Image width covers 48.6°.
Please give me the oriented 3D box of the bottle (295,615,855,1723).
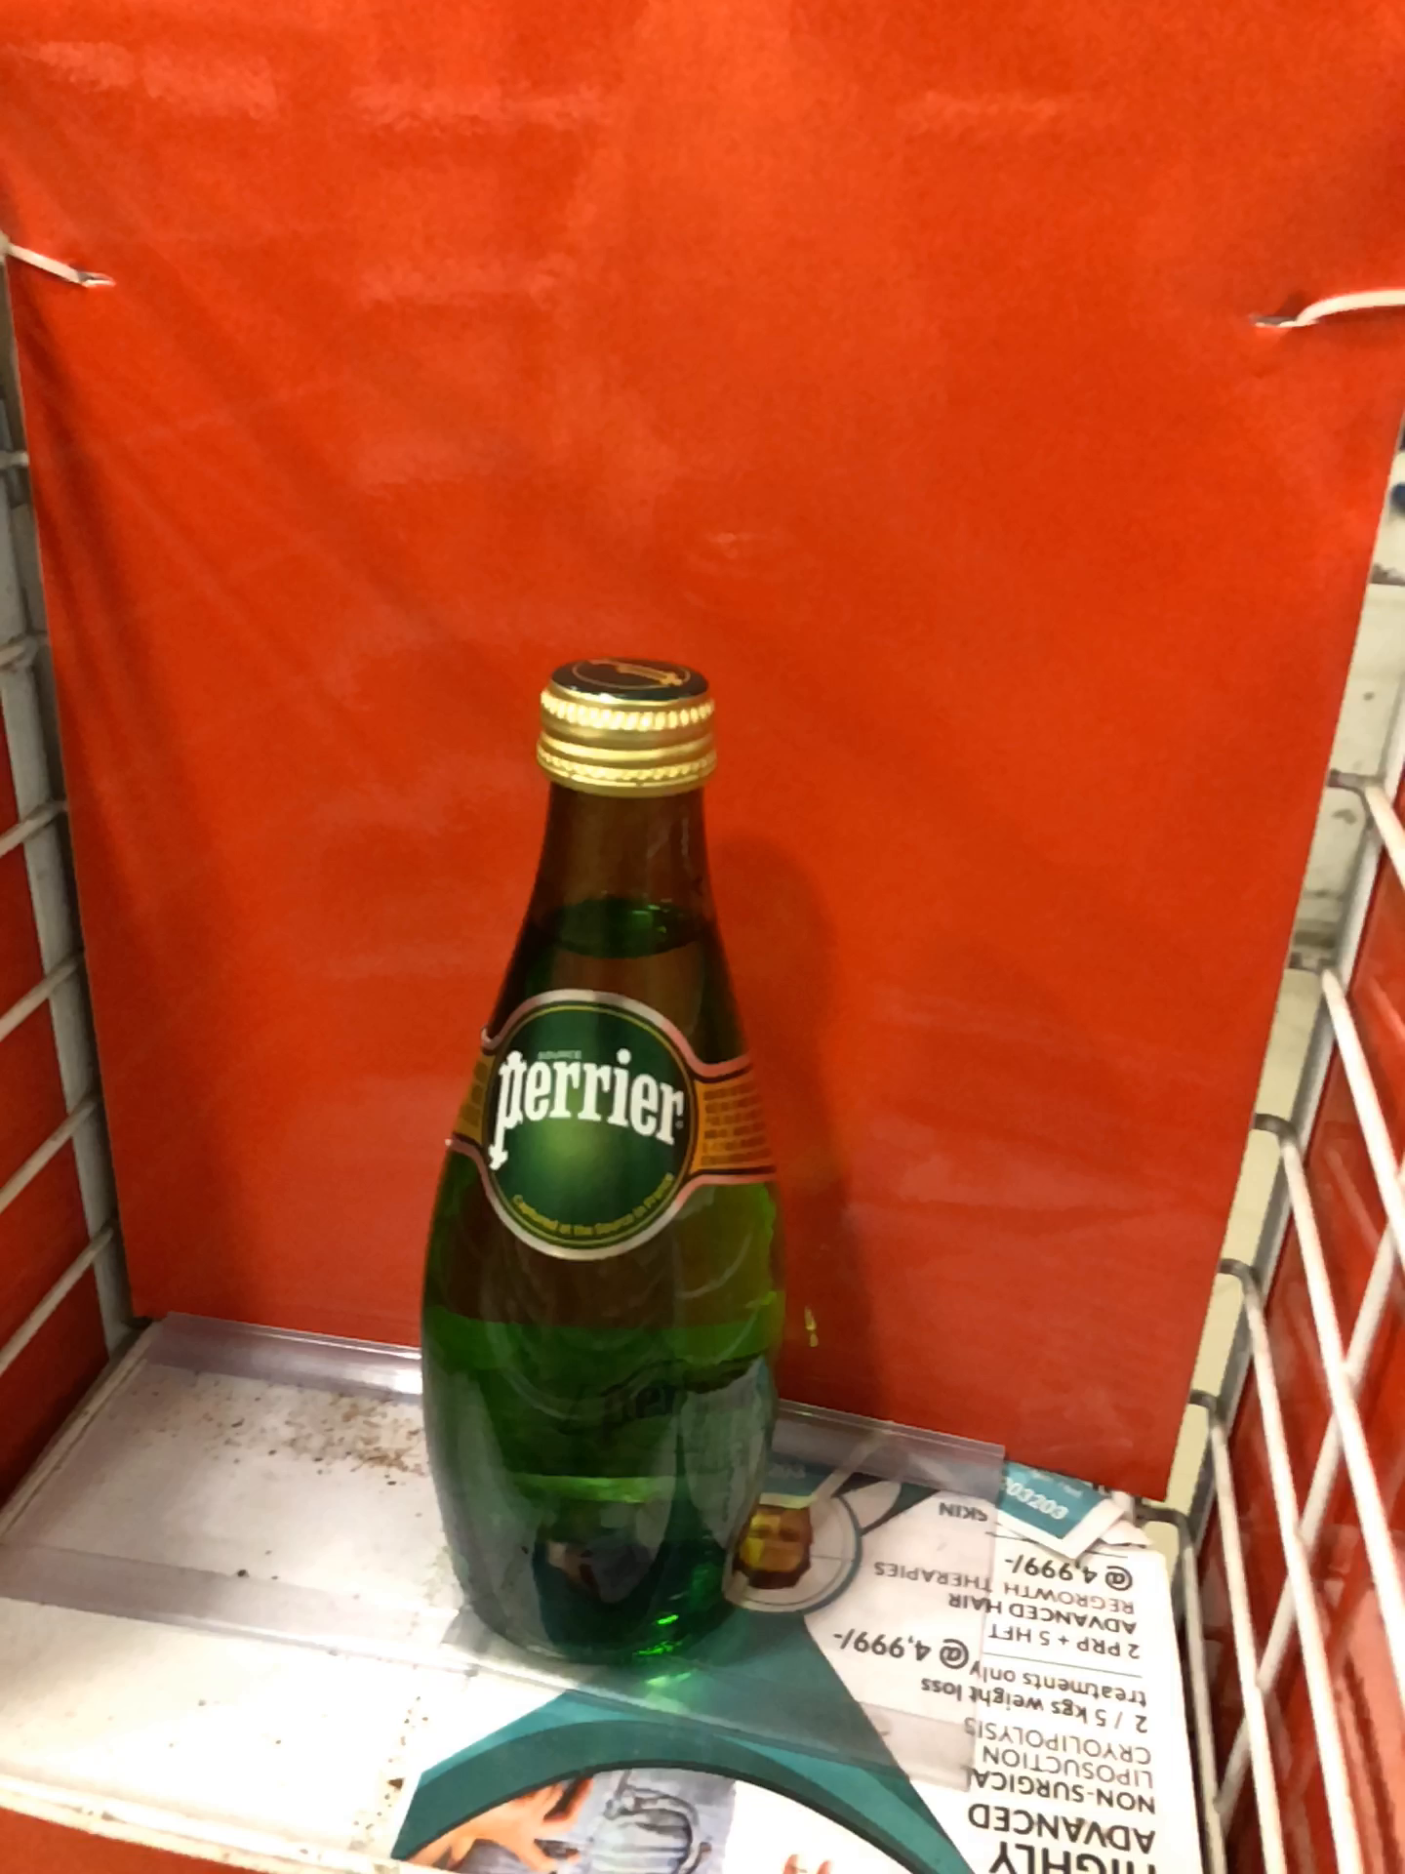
[{"bbox_3d":[-0.019,0.043,0.271,0.070,0.179,0.060,7,26,8],"label":"bottle"}]
